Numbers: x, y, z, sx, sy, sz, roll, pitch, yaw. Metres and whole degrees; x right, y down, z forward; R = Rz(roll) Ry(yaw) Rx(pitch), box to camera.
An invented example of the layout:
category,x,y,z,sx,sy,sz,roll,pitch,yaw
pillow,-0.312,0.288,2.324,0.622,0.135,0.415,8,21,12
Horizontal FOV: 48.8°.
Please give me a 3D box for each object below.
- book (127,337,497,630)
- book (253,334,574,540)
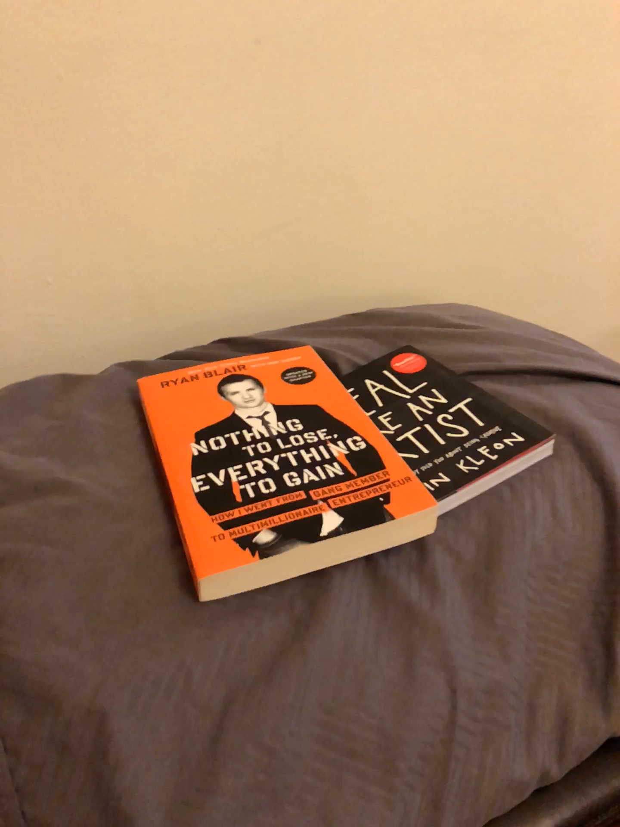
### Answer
category,x,y,z,sx,sy,sz,roll,pitch,yaw
book,-0.015,0.023,0.455,0.170,0.020,0.231,-11,37,-19
book,0.068,0.004,0.489,0.150,0.020,0.171,-21,39,-29
